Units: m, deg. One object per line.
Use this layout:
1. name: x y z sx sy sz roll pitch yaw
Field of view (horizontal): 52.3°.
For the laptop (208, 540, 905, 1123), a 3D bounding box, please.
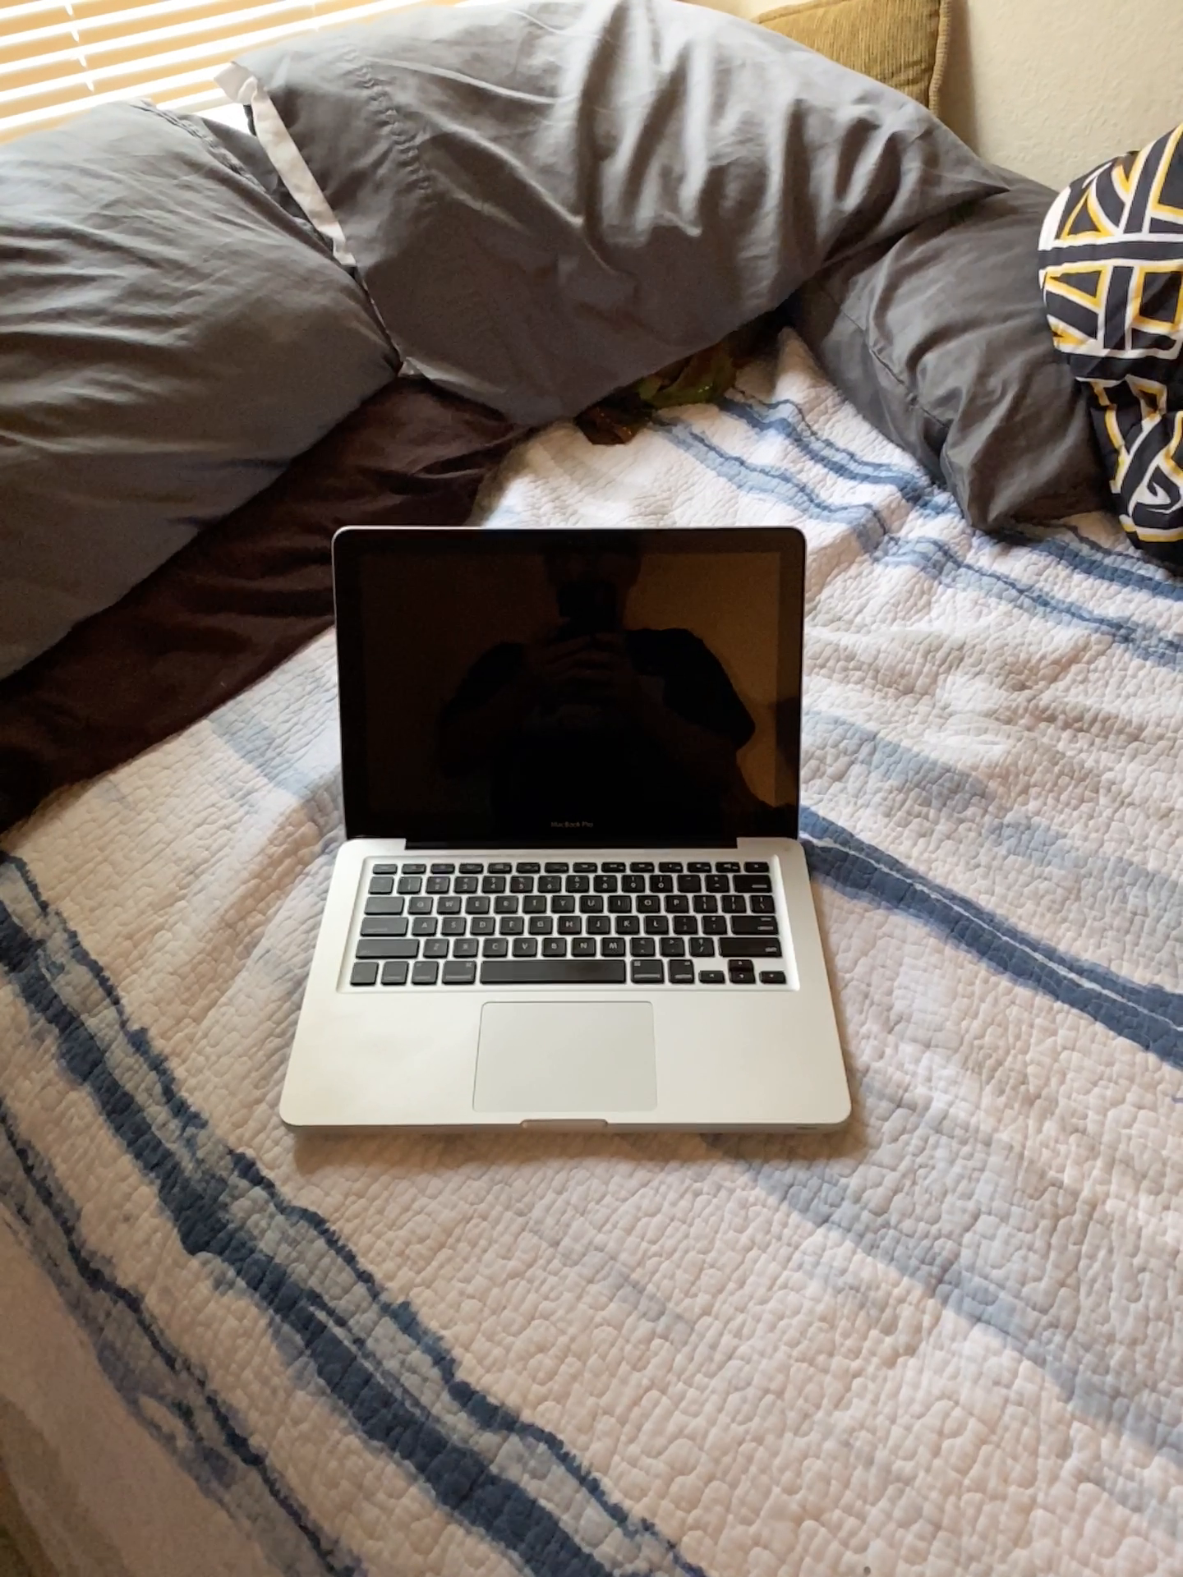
1. laptop: -0.017 0.007 0.741 0.319 0.169 0.348 0 41 1
